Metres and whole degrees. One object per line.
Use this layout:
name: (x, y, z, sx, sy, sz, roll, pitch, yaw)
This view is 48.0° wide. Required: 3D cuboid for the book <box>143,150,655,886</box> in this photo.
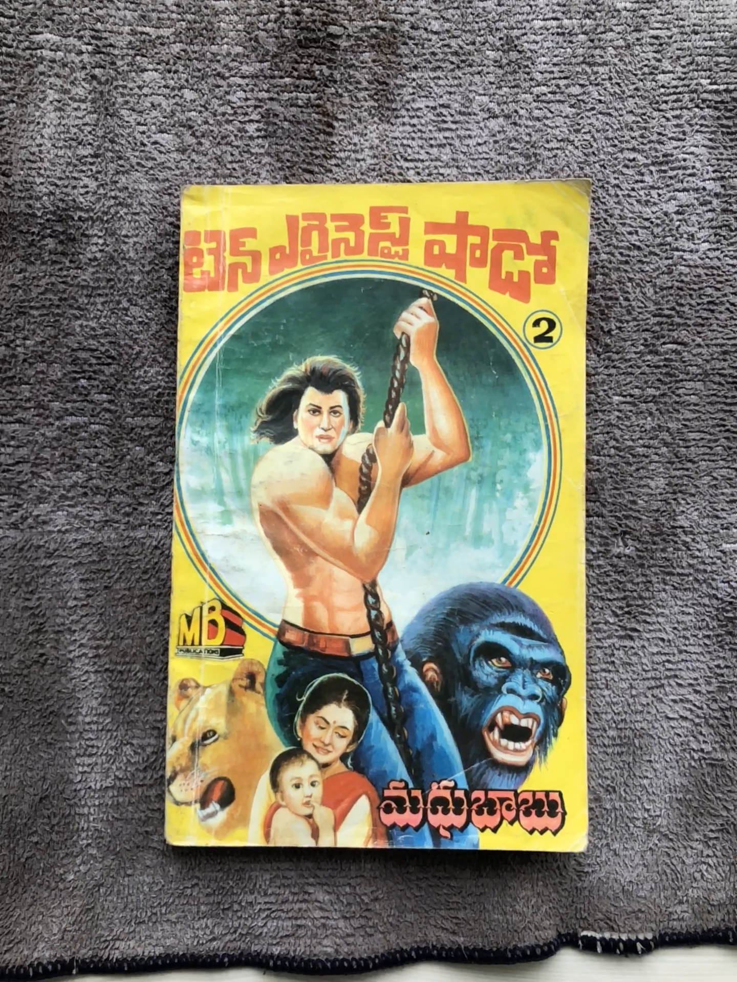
book: (0.007, 0.004, 0.192, 0.110, 0.020, 0.160, 0, 86, -2)
